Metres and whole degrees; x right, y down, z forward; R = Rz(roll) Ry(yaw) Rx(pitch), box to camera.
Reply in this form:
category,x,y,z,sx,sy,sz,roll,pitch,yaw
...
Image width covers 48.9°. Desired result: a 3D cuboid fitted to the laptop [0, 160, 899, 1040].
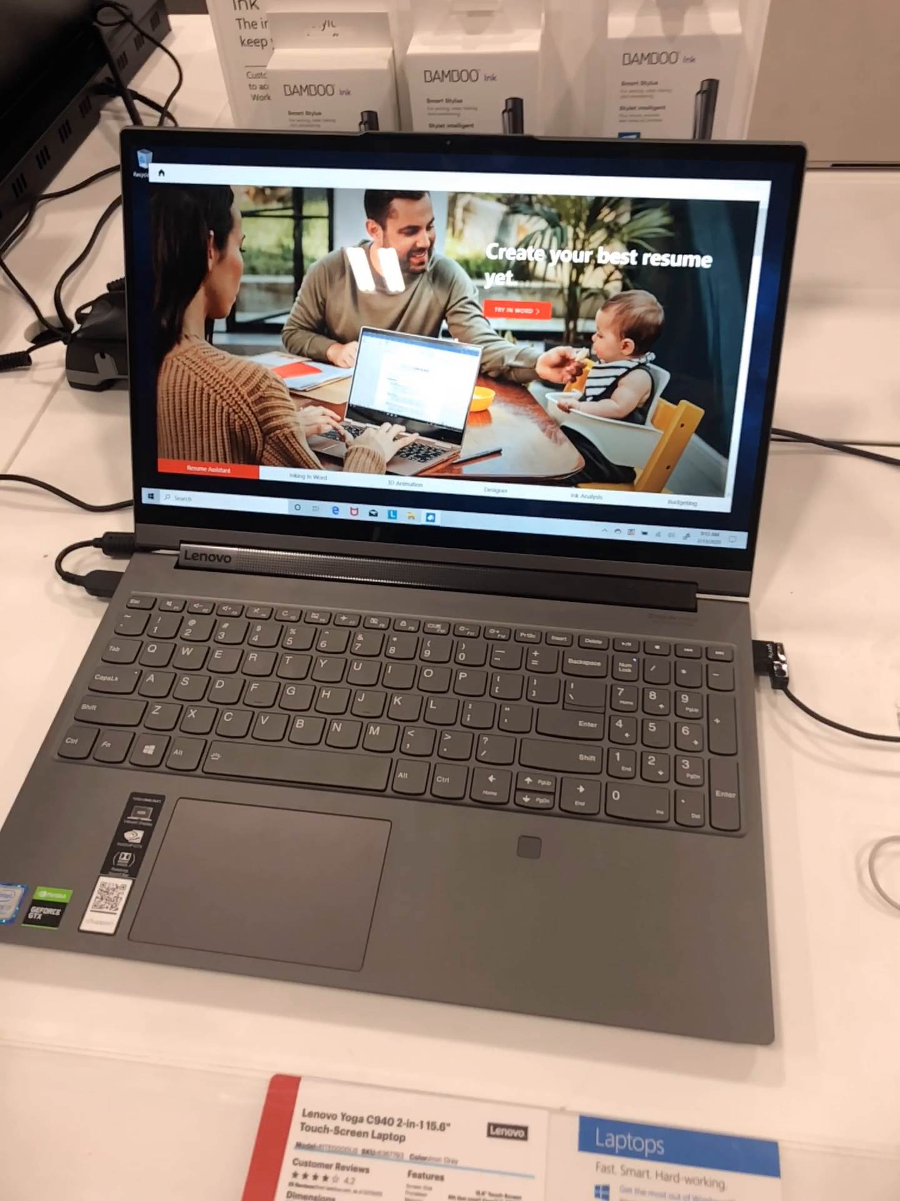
category,x,y,z,sx,sy,sz,roll,pitch,yaw
laptop,-0.011,-0.031,0.471,0.345,0.189,0.369,5,49,8
